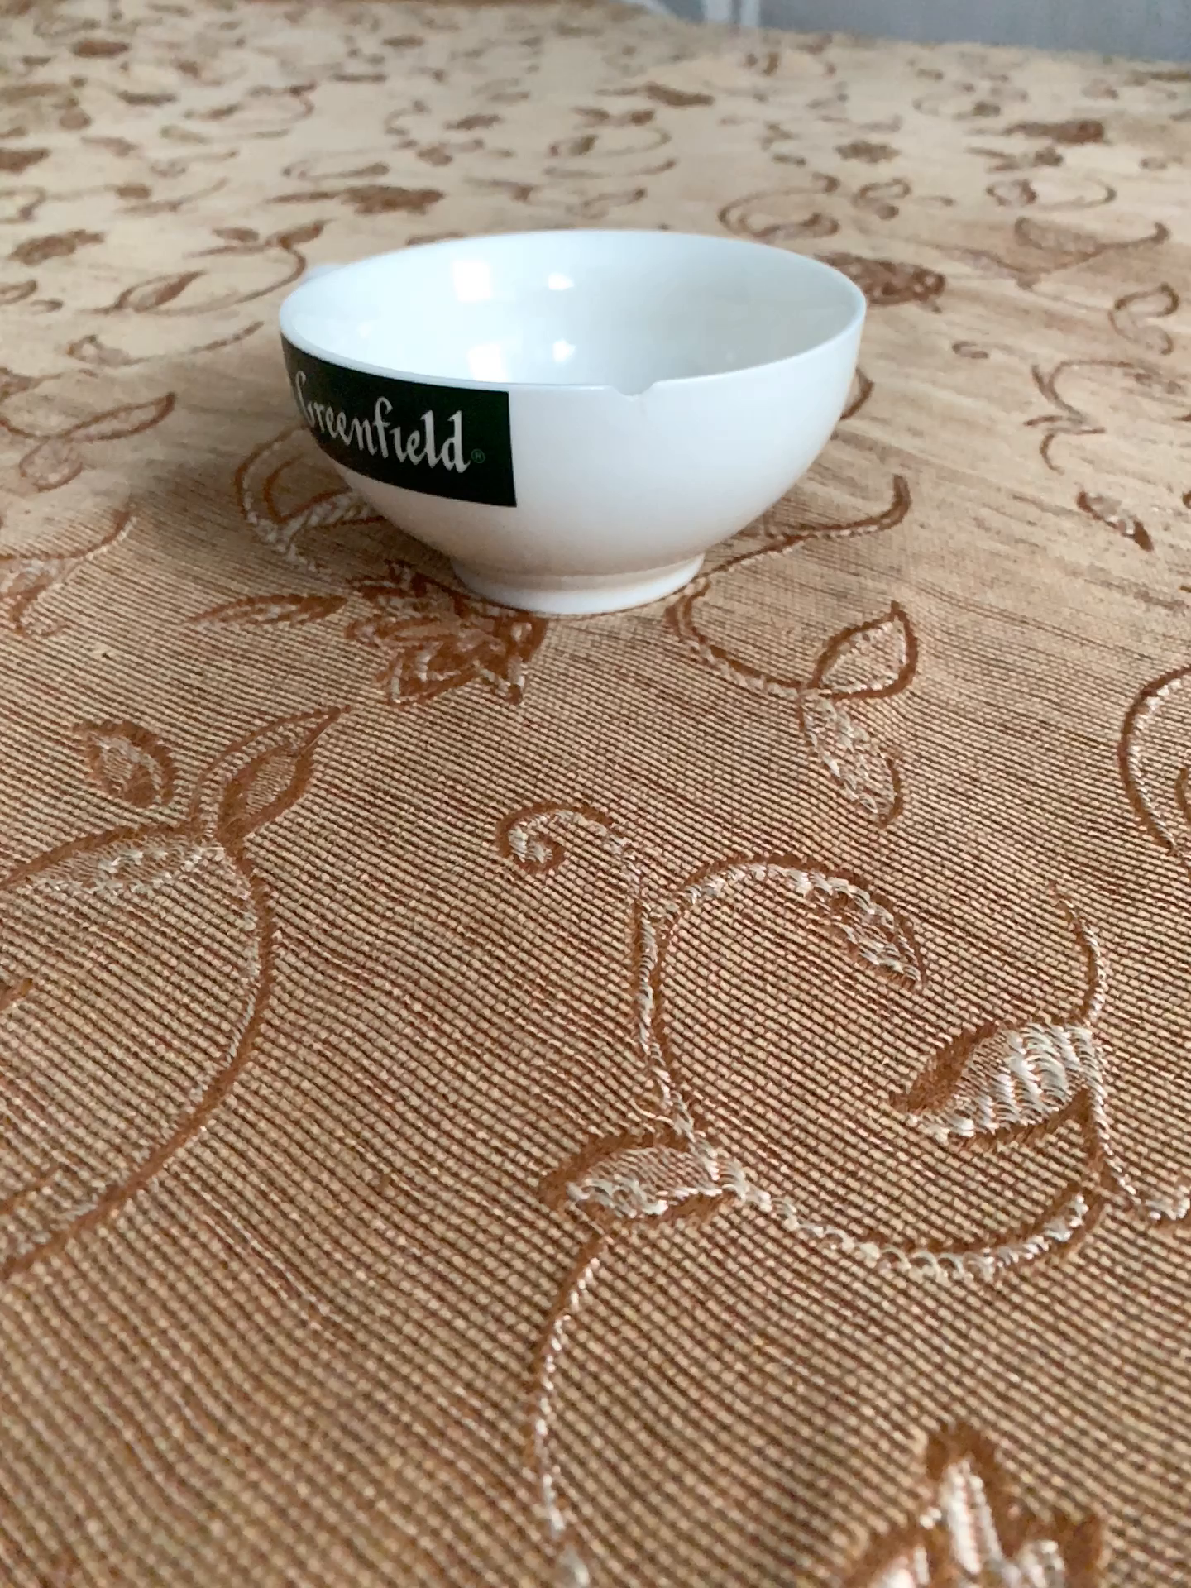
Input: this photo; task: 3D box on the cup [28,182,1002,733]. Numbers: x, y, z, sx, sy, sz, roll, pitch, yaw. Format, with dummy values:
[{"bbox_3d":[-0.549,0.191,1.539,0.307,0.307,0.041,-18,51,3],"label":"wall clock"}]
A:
[{"bbox_3d":[-0.015,-0.077,0.240,0.140,0.040,0.111,27,43,29],"label":"cup"}]
